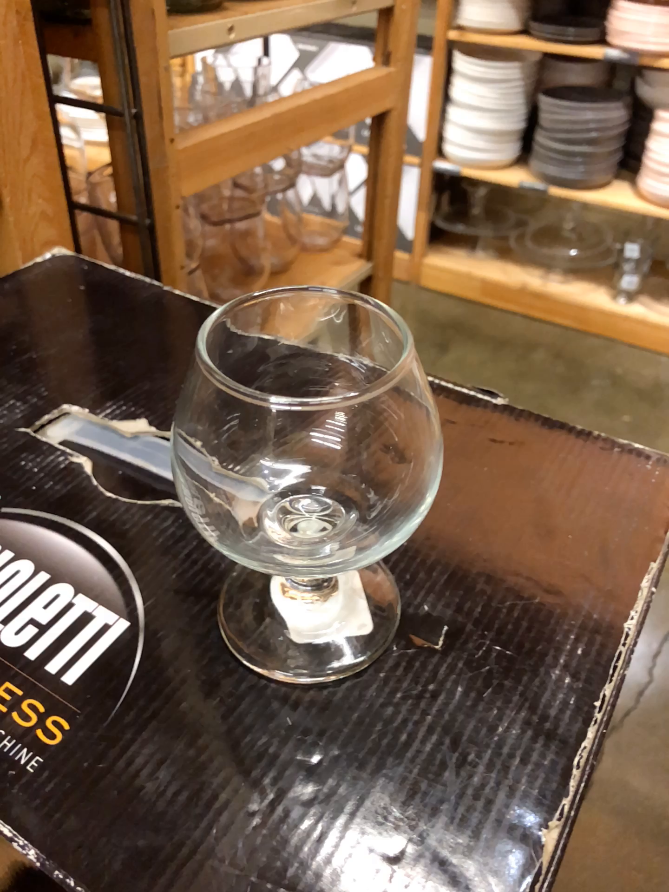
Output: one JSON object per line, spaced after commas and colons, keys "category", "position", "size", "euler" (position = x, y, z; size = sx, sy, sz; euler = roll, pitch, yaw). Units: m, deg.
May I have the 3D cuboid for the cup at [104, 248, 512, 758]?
{"category": "cup", "position": [-0.007, 0.014, 0.213], "size": [0.072, 0.106, 0.069], "euler": [2, 37, -1]}
